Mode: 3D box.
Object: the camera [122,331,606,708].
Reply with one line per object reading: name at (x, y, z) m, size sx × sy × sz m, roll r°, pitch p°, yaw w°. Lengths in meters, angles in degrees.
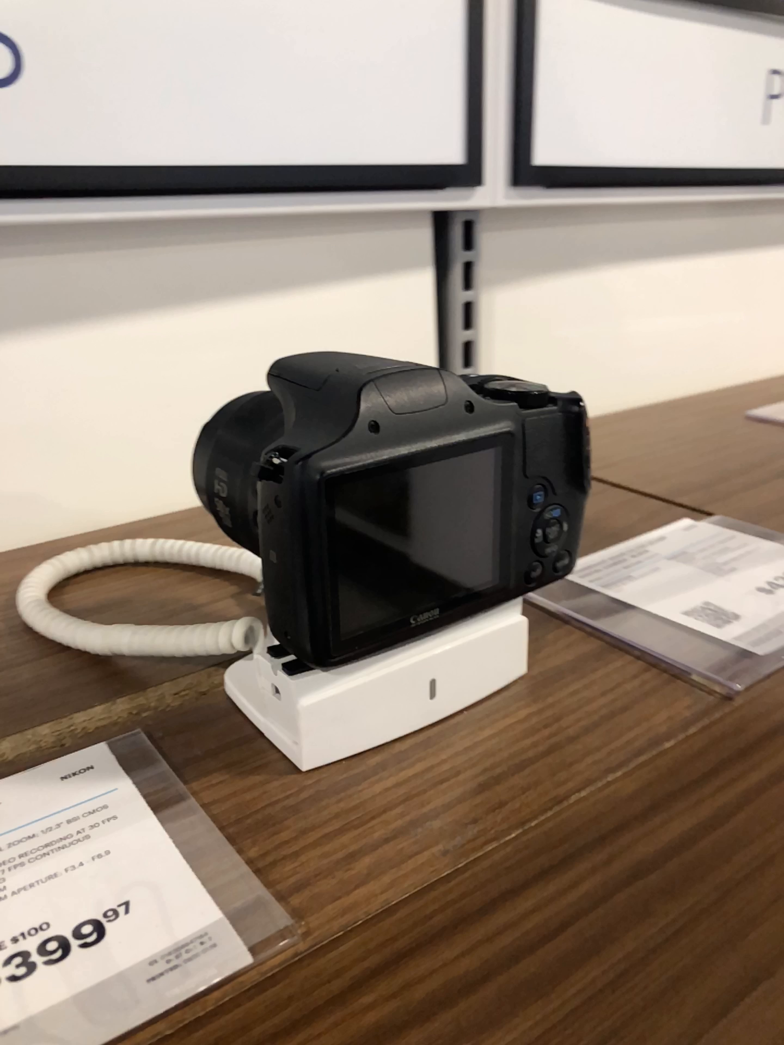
camera at (-0.008, -0.014, 0.295) m, size 0.120 × 0.080 × 0.102 m, roll -17°, pitch 24°, yaw -37°
